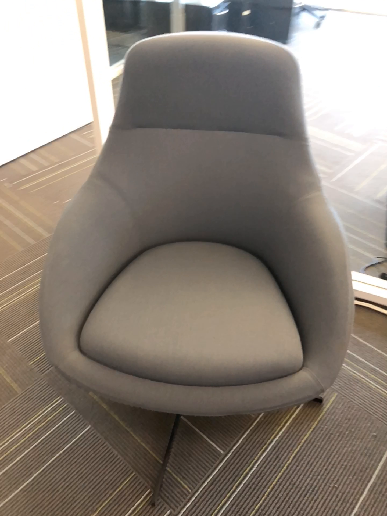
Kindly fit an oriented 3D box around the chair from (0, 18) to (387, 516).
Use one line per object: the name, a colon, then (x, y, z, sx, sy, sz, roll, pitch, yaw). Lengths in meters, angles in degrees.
chair: (-0.030, 0.017, 1.211, 0.930, 0.995, 0.965, 5, 42, 5)
